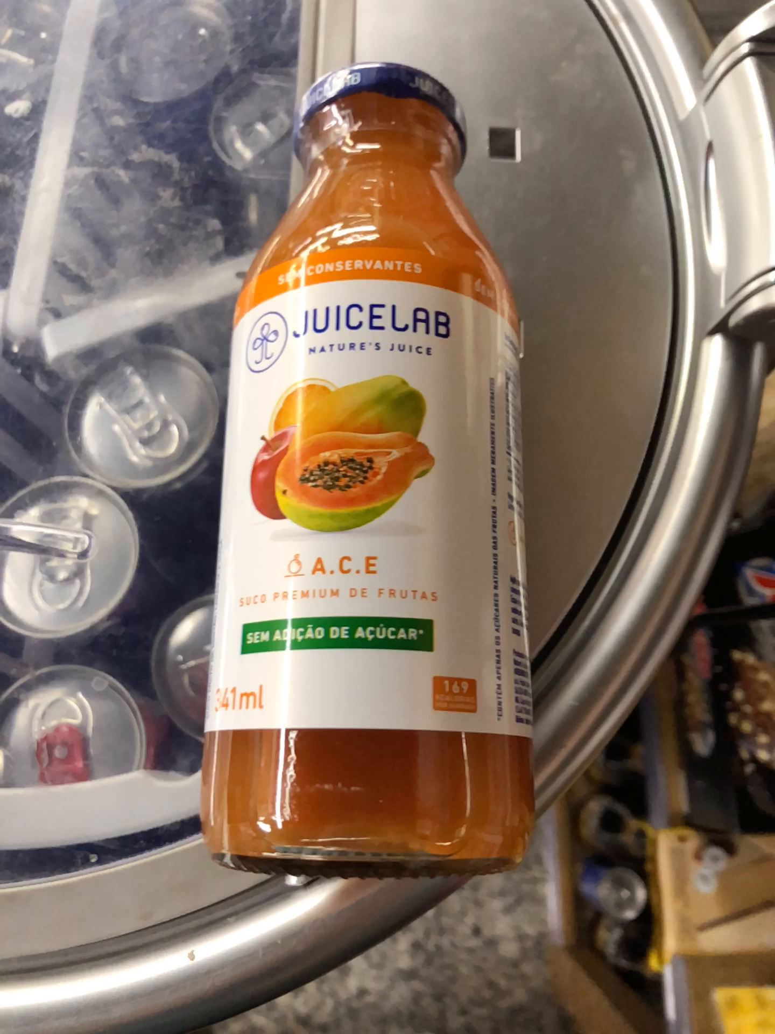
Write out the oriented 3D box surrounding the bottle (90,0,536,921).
[{"bbox_3d":[-0.007,-0.025,0.184,0.070,0.050,0.190,0,75,7],"label":"bottle"}]
